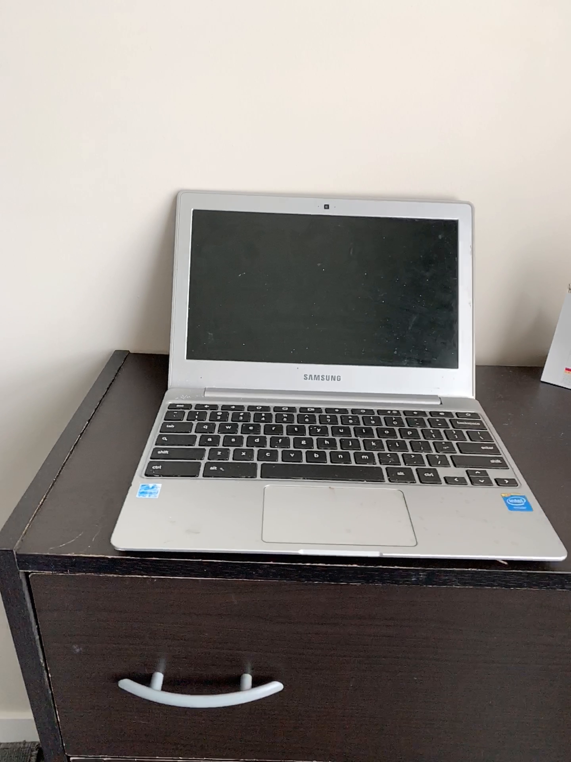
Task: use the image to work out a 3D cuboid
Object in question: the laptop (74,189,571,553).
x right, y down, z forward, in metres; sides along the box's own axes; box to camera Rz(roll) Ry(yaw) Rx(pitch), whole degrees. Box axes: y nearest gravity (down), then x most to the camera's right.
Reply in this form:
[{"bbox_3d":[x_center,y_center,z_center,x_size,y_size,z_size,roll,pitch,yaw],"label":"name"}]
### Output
[{"bbox_3d":[0.039,-0.039,0.470,0.291,0.153,0.319,2,28,-2],"label":"laptop"}]
